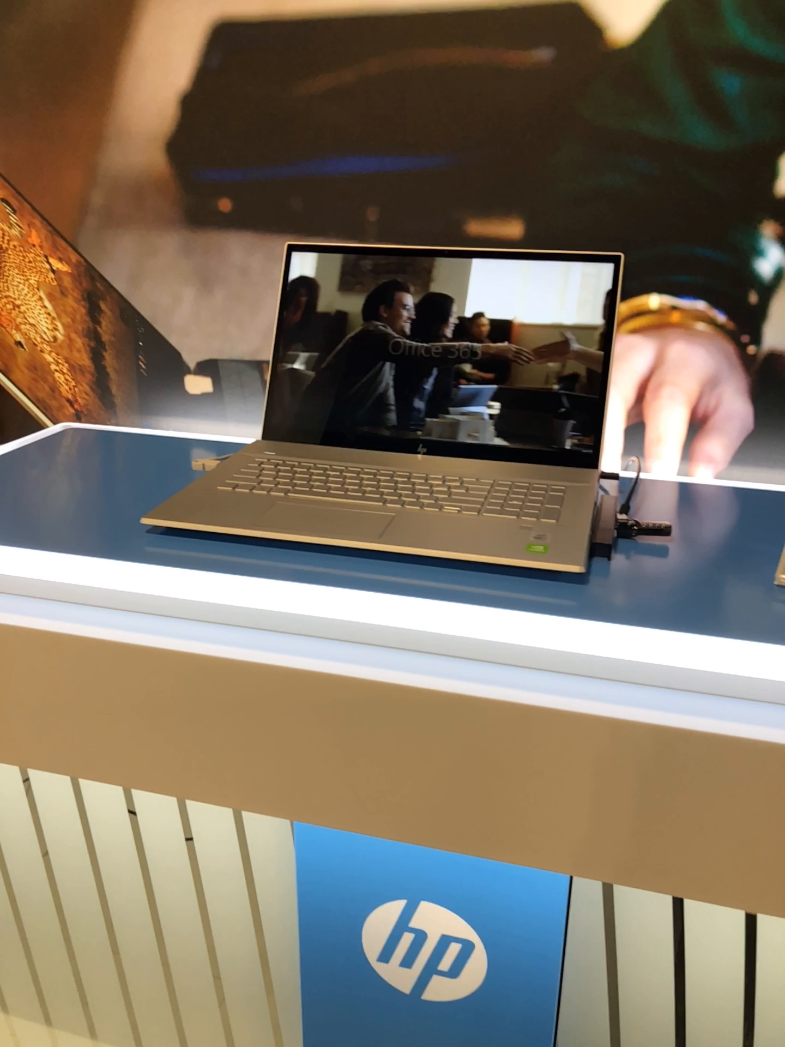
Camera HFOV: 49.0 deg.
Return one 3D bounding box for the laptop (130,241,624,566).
[{"bbox_3d":[0.017,-0.159,0.892,0.400,0.217,0.385,6,22,15],"label":"laptop"}]
